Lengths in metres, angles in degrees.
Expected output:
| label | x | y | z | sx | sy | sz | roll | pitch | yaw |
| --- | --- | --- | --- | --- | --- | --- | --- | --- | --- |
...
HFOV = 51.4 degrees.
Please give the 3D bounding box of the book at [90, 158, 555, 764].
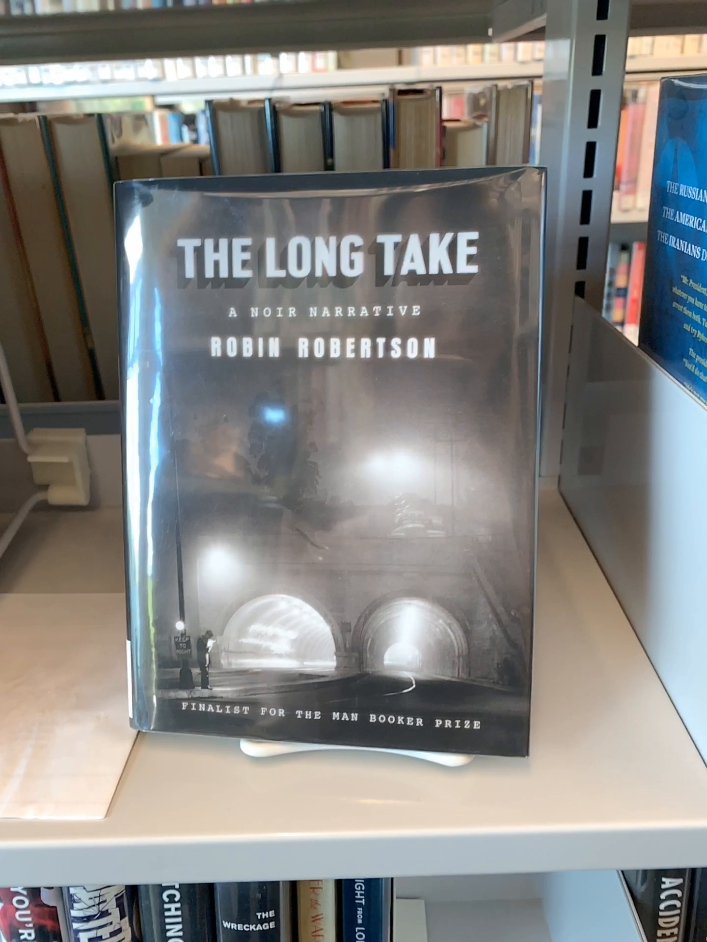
| label | x | y | z | sx | sy | sz | roll | pitch | yaw |
| --- | --- | --- | --- | --- | --- | --- | --- | --- | --- |
| book | -0.011 | -0.003 | 0.279 | 0.160 | 0.206 | 0.040 | 1 | 6 | 8 |
